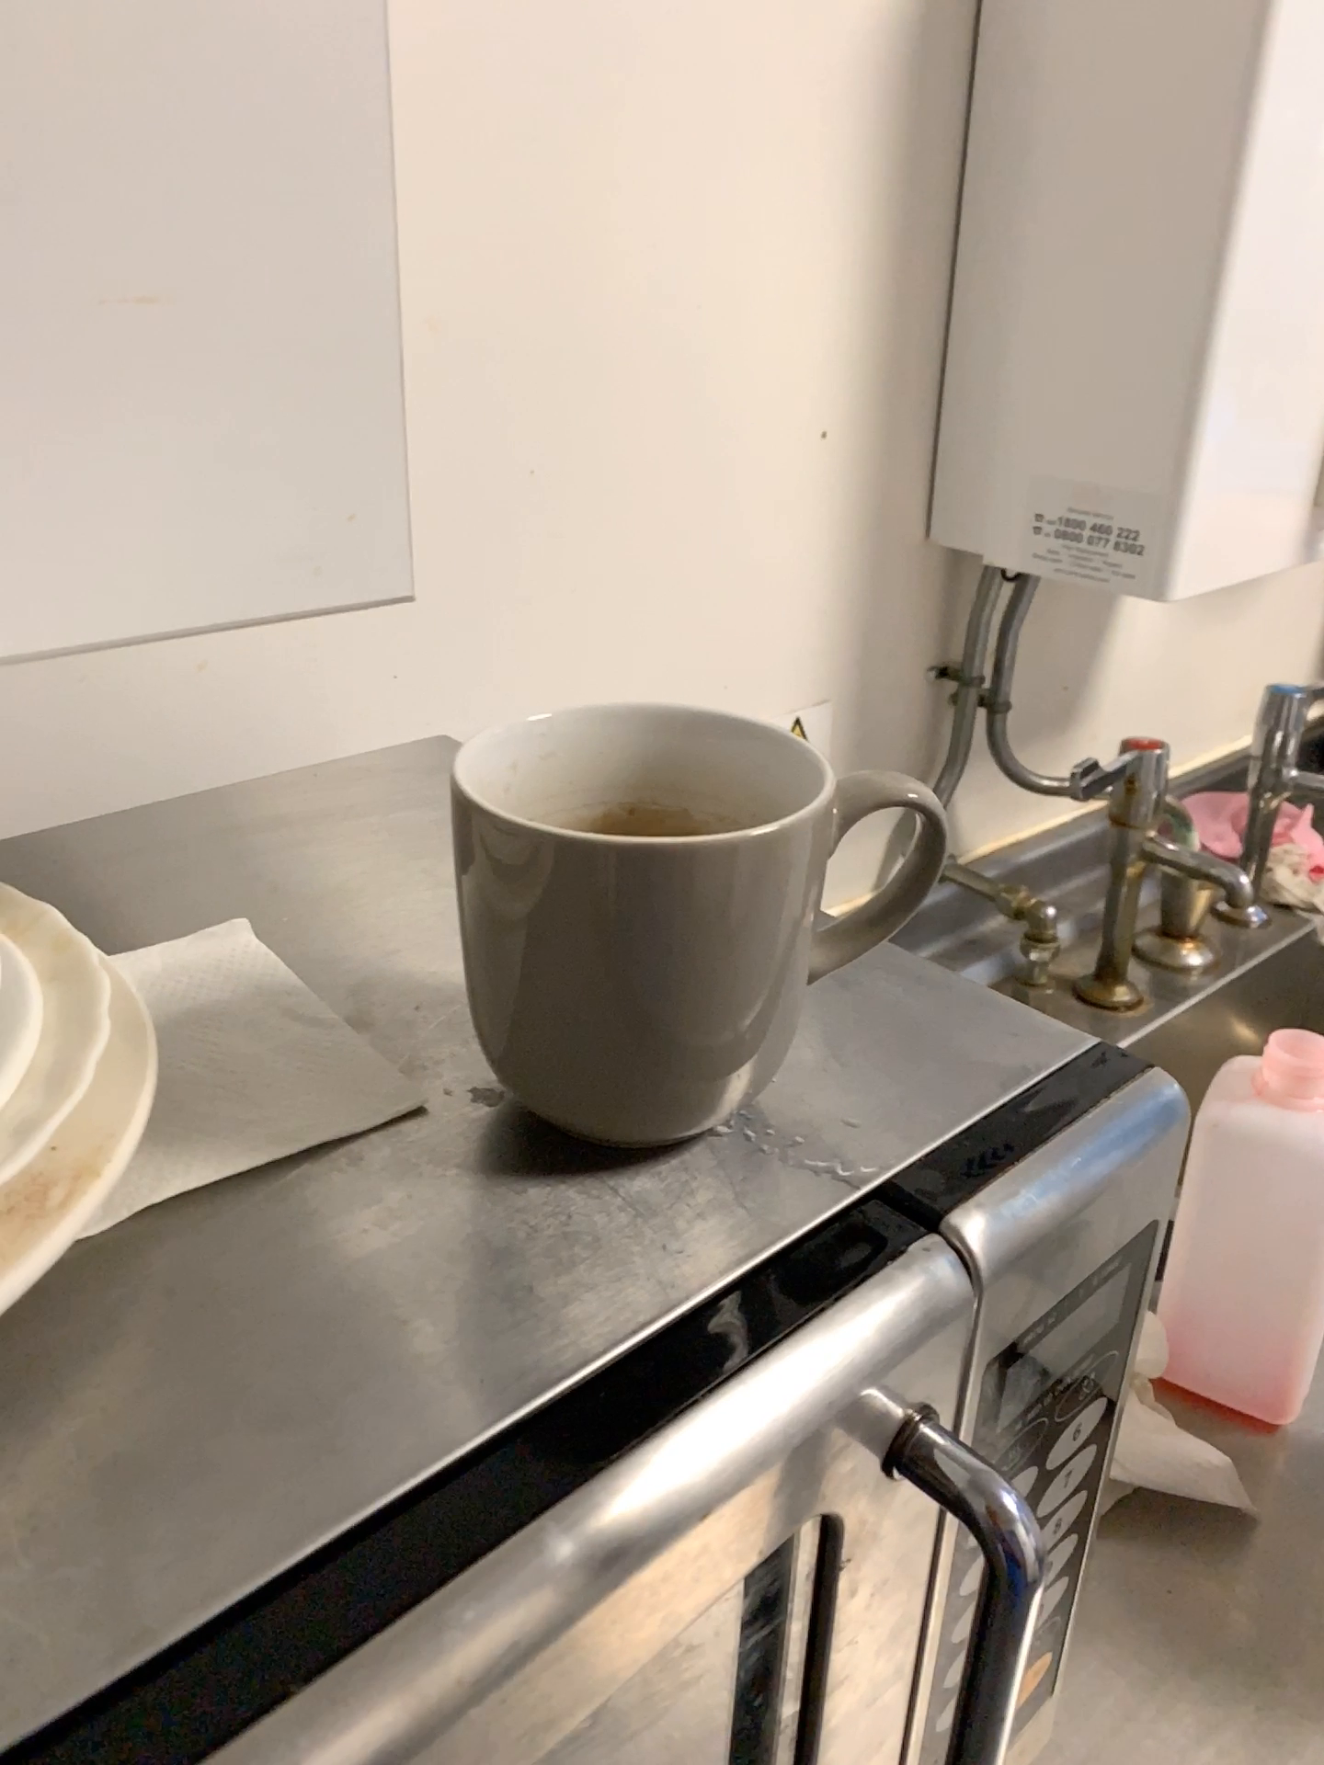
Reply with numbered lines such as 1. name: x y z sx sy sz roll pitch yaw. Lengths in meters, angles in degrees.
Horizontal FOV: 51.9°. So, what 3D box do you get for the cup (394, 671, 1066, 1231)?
1. cup: 0.011 0.006 0.333 0.124 0.079 0.102 -10 27 -24
